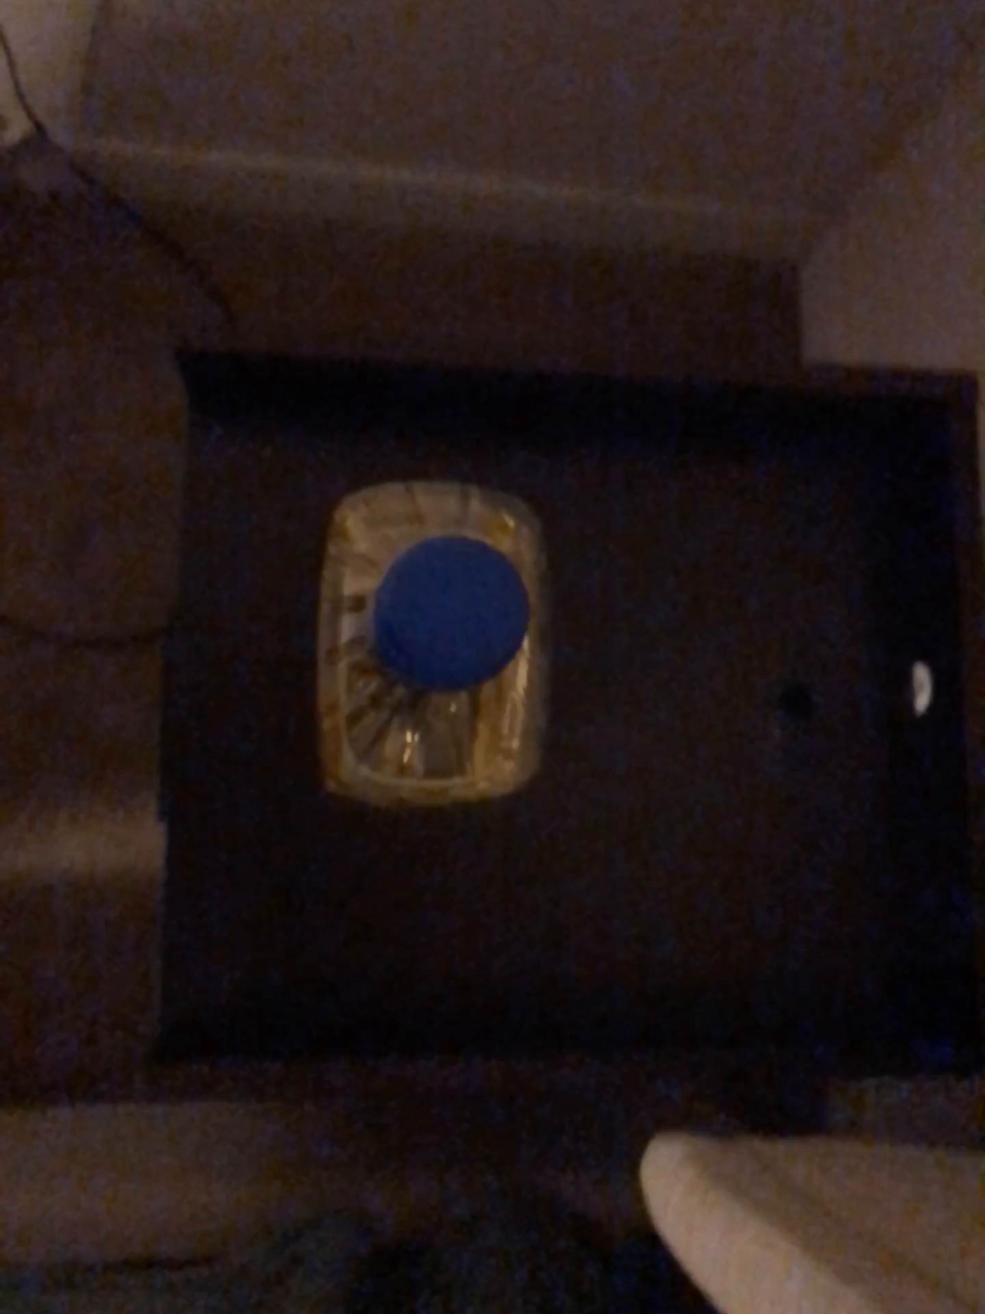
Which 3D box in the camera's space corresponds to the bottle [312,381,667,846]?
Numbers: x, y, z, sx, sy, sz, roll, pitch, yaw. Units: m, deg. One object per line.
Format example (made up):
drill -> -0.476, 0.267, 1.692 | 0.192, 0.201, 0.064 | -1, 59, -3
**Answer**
bottle -> -0.019, 0.010, 0.400 | 0.083, 0.277, 0.110 | 2, 81, -8
